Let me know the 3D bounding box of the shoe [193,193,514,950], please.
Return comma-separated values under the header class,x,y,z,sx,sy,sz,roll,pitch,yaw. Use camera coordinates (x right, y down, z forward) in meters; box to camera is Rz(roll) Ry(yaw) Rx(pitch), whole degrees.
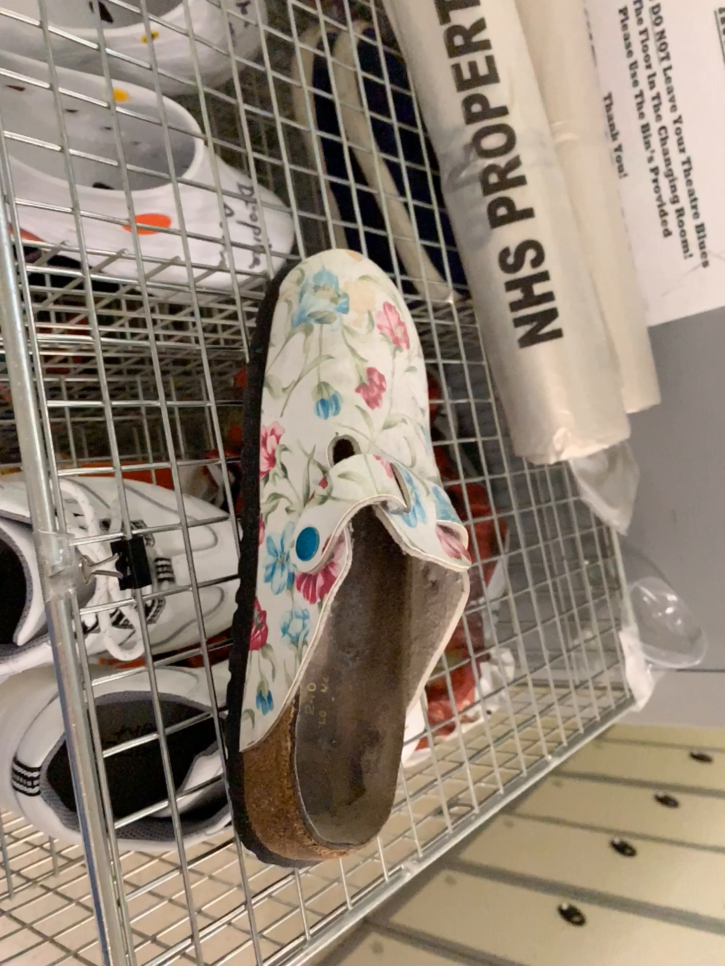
class,x,y,z,sx,sy,sz,roll,pitch,yaw
shoe,0.004,0.029,0.314,0.101,0.069,0.259,16,70,-44
